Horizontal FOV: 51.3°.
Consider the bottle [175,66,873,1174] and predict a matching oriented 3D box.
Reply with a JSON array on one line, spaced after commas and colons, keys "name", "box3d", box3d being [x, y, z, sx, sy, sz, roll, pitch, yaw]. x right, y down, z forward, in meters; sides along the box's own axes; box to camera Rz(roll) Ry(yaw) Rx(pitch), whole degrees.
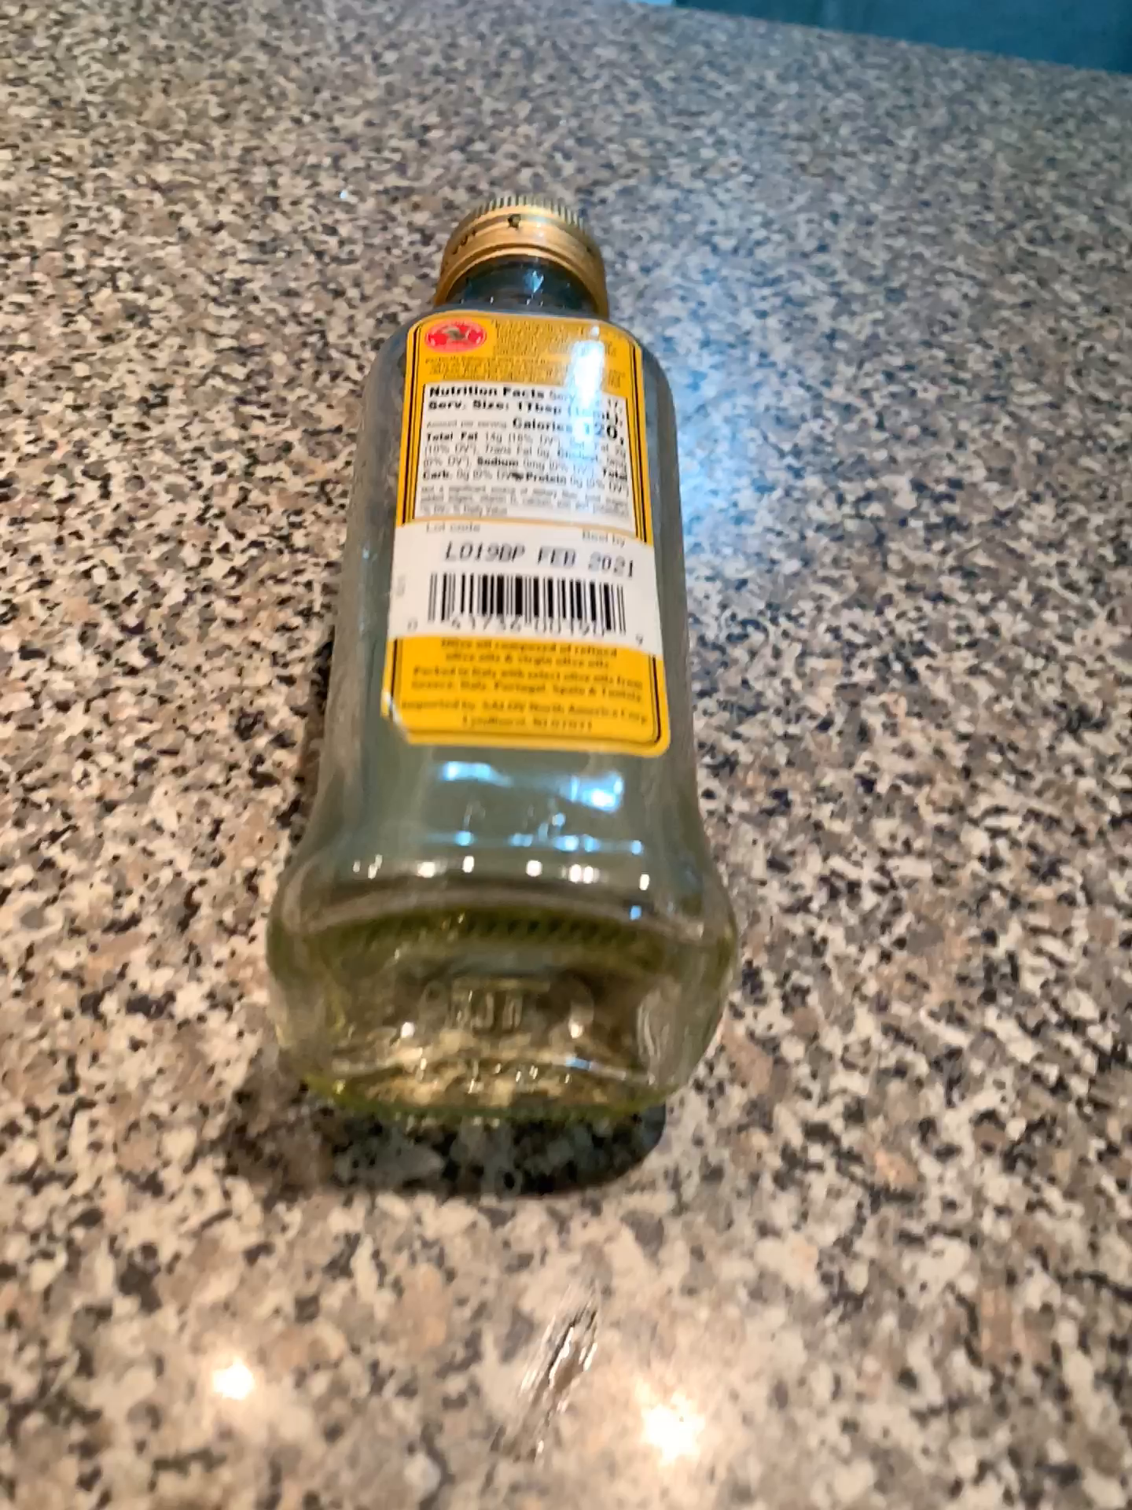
[{"name": "bottle", "box3d": [-0.007, -0.037, 0.182, 0.060, 0.060, 0.181, 3, 49, -5]}]
